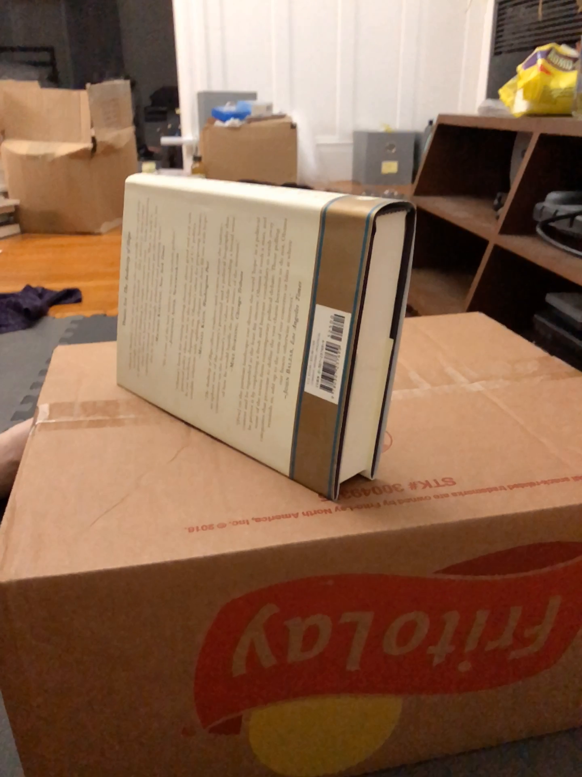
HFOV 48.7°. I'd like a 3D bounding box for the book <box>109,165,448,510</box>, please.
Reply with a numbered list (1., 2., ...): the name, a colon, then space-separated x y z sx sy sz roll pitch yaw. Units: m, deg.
1. book: -0.031 -0.053 0.445 0.060 0.169 0.251 -9 24 -44
